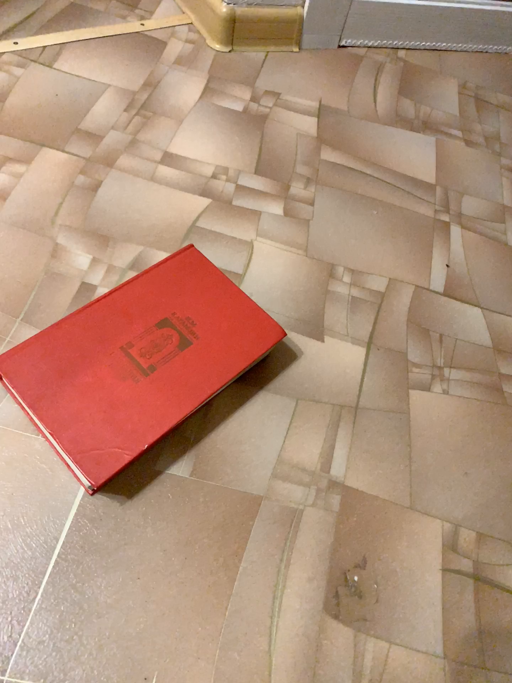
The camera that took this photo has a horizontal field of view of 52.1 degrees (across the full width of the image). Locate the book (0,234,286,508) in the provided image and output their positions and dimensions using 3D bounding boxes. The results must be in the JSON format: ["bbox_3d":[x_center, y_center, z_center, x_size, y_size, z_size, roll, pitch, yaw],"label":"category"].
[{"bbox_3d":[-0.097,0.012,0.439,0.201,0.050,0.140,-36,68,-28],"label":"book"}]
